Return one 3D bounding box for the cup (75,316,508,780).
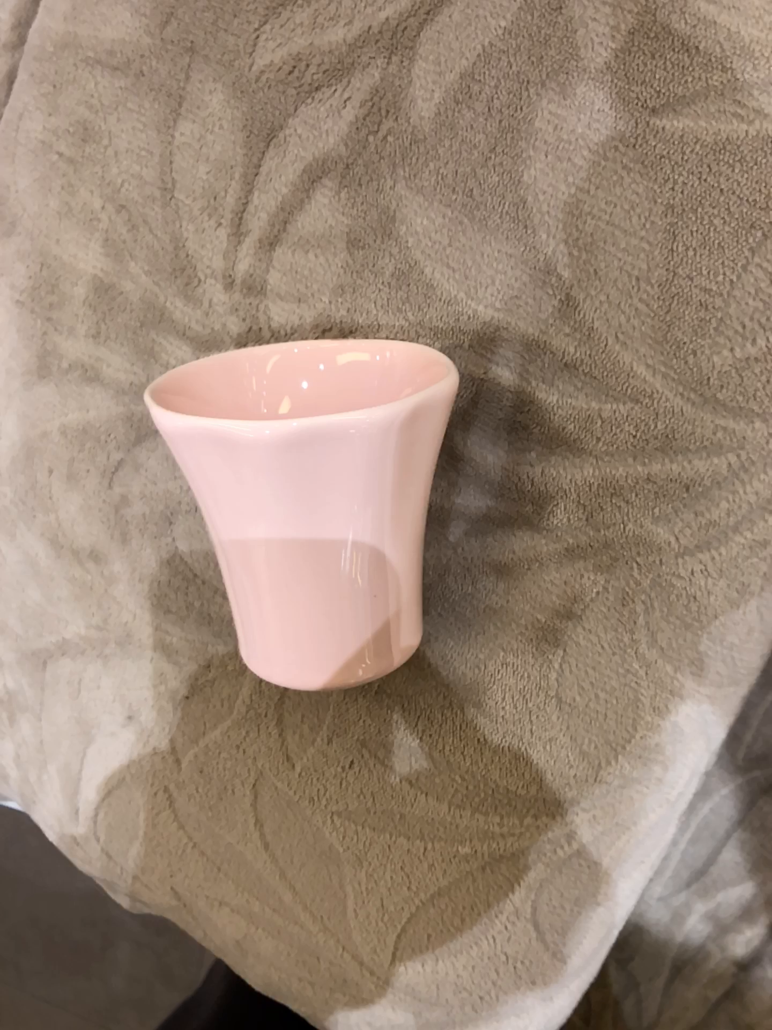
[{"bbox_3d":[-0.027,-0.002,0.243,0.100,0.070,0.090,22,123,49],"label":"cup"}]
